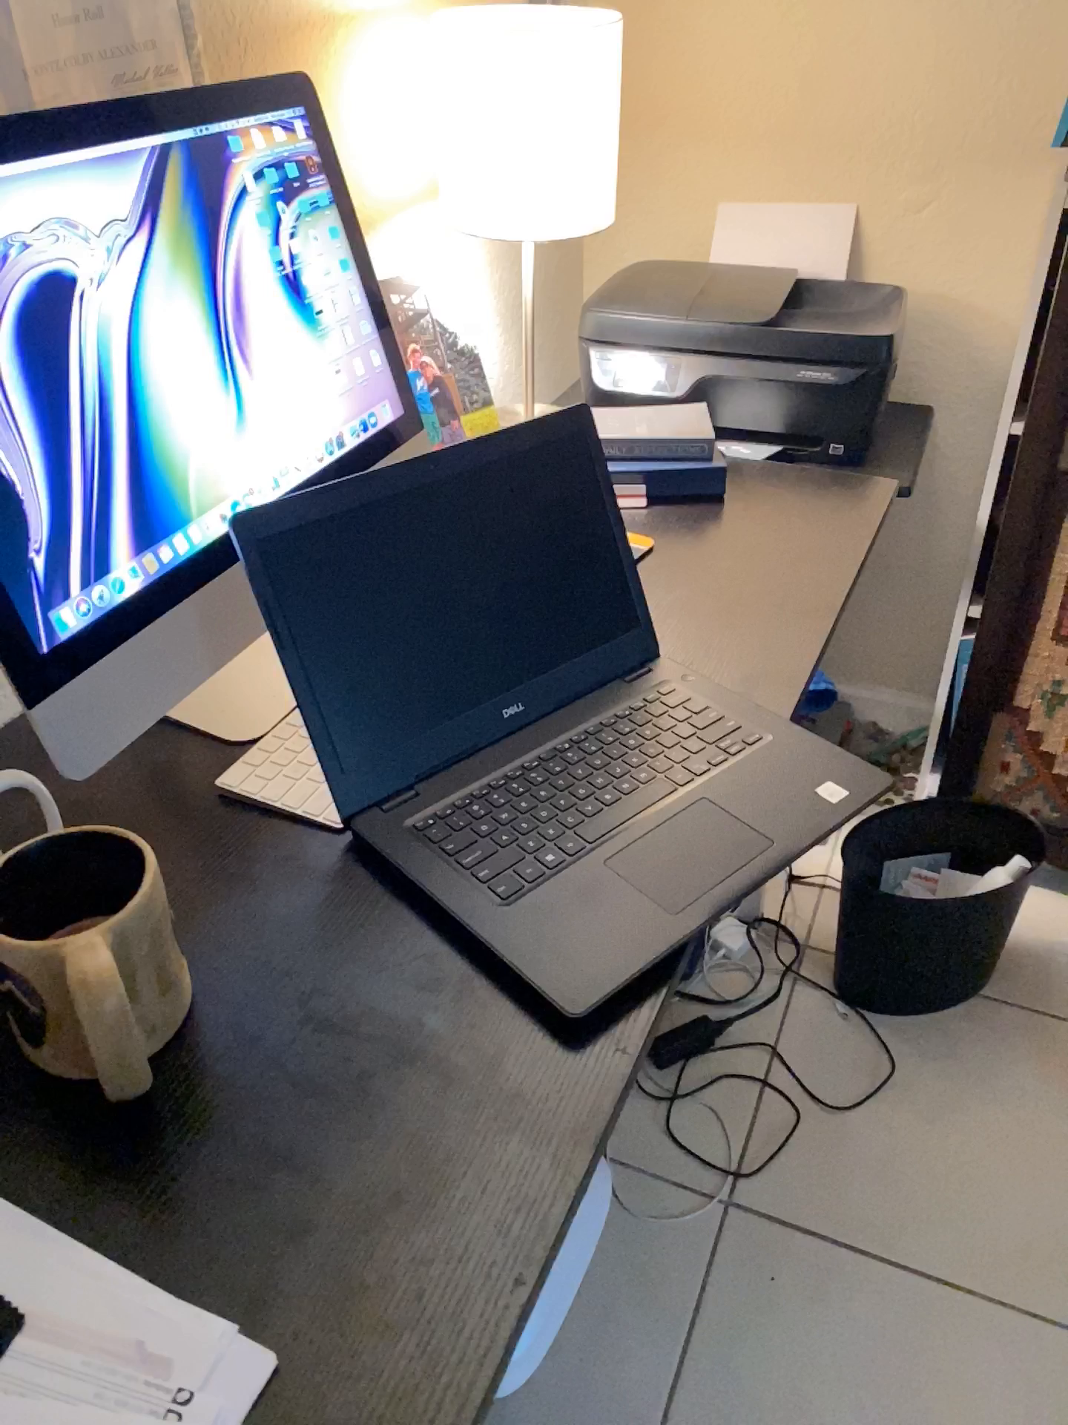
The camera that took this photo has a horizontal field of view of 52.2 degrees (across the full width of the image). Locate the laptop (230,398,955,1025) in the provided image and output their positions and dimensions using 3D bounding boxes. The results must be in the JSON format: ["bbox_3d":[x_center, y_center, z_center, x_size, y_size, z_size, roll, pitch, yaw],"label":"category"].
[{"bbox_3d":[0.036,-0.040,0.782,0.337,0.206,0.344,-28,43,-32],"label":"laptop"}]
